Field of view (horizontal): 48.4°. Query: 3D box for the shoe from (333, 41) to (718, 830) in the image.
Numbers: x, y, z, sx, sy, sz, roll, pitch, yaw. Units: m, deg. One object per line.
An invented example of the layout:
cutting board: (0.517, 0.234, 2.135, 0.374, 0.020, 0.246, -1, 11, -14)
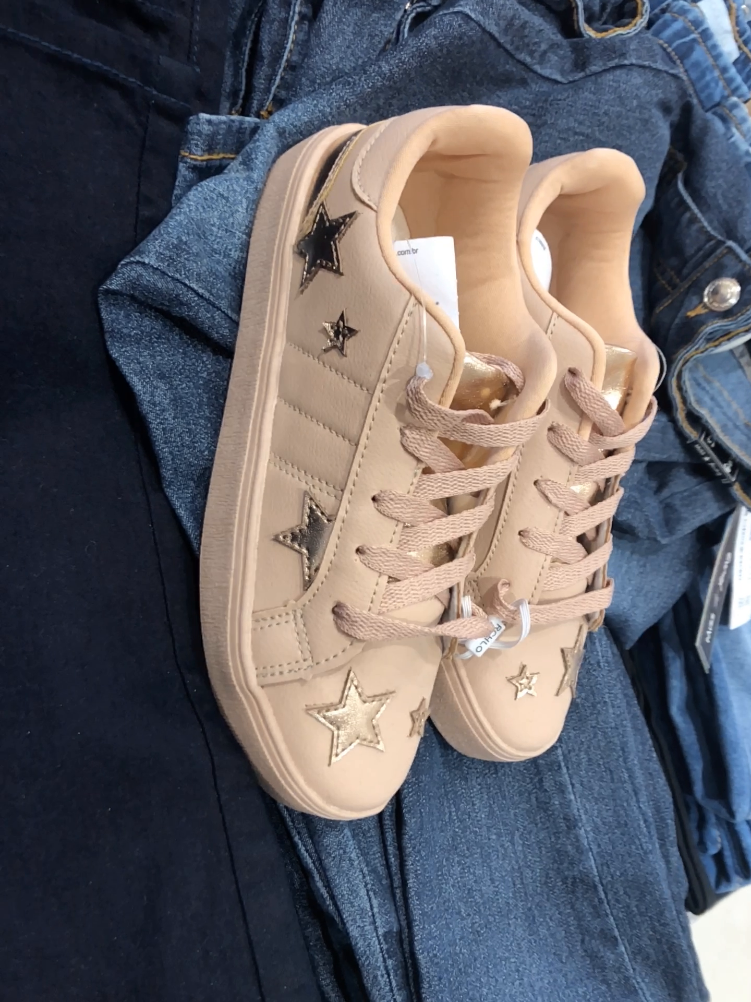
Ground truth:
shoe: (0.054, -0.021, 0.324, 0.091, 0.089, 0.250, 0, 84, -37)

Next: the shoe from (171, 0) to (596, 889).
shoe: (0.002, -0.023, 0.280, 0.090, 0.089, 0.250, 7, 85, -35)
